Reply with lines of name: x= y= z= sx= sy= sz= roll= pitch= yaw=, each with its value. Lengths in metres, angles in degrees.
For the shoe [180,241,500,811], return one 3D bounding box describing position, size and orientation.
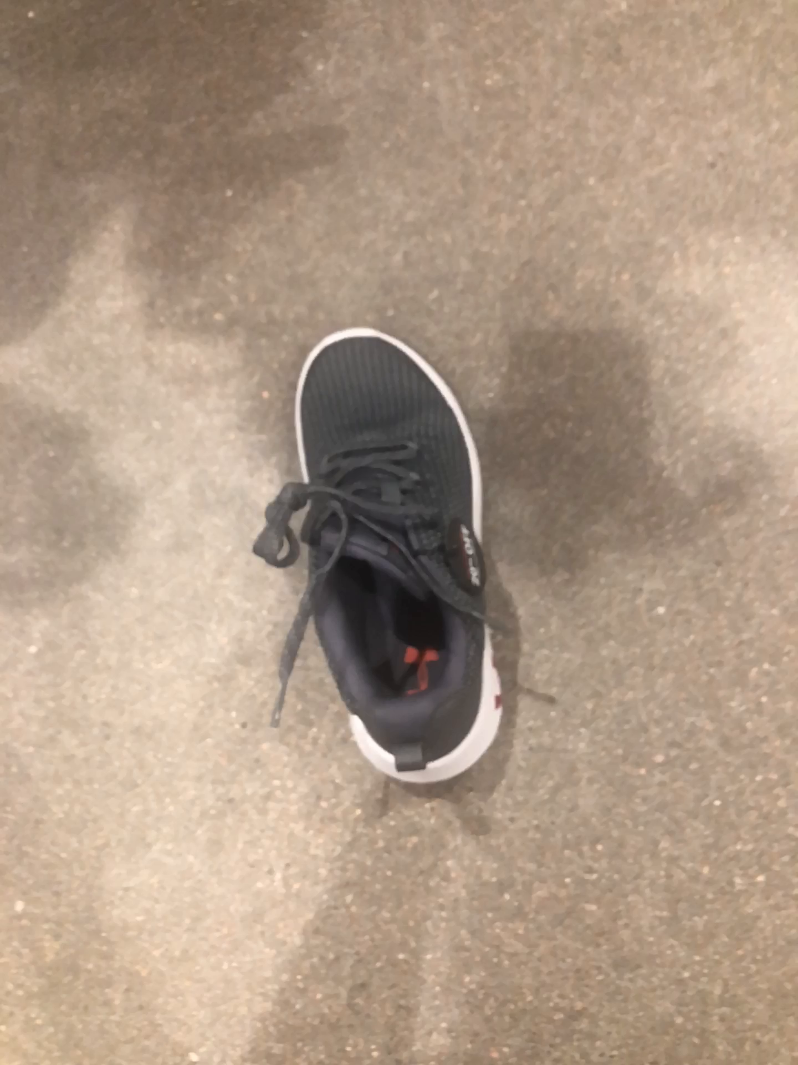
shoe: x=-0.032 y=-0.002 z=0.468 sx=0.116 sy=0.085 sz=0.265 roll=-11 pitch=73 yaw=7
